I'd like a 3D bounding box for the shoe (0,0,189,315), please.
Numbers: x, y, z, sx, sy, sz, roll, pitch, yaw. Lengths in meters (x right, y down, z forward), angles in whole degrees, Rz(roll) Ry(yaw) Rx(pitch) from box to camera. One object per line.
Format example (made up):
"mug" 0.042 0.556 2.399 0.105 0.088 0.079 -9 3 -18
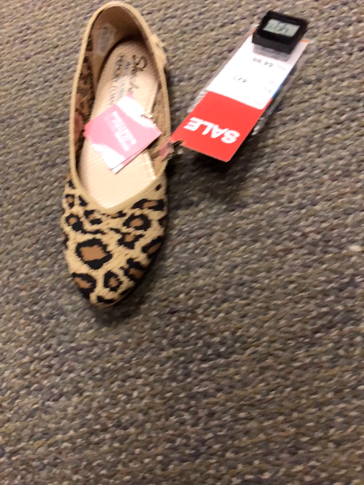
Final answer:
"shoe" -0.058 -0.077 0.319 0.105 0.085 0.253 -1 72 11
